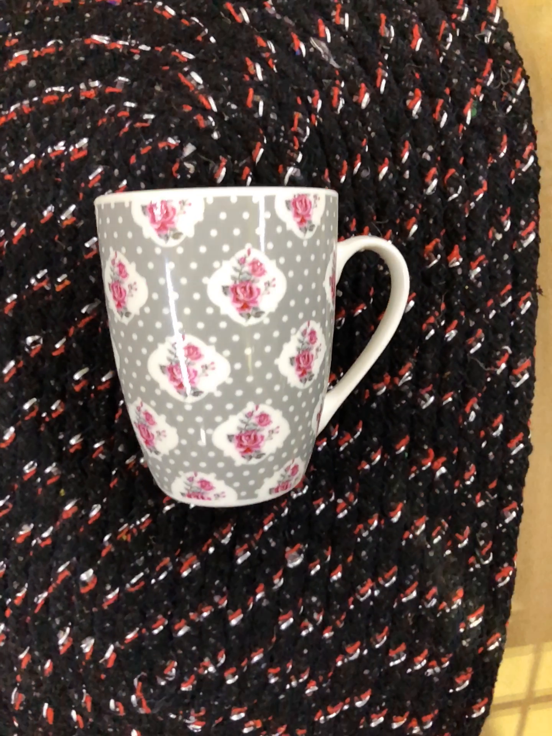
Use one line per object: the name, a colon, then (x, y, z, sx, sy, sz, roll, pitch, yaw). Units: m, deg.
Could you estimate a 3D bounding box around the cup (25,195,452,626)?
cup: (-0.016, 0.000, 0.208, 0.110, 0.090, 0.100, -10, 105, -21)
